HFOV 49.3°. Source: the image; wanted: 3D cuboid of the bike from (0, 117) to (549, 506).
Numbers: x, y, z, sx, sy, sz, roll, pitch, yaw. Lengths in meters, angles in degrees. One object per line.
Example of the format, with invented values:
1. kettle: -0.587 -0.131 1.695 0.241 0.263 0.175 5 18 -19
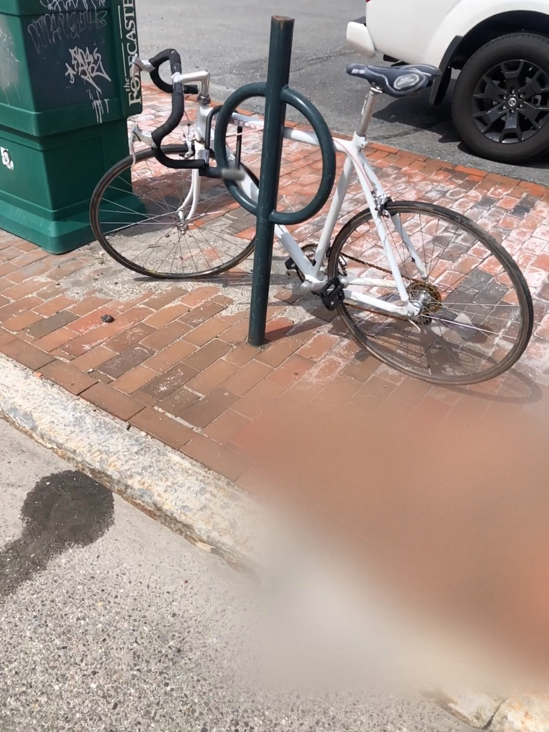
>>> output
1. bike: -0.029 -0.199 1.563 1.274 0.649 0.467 16 38 19
